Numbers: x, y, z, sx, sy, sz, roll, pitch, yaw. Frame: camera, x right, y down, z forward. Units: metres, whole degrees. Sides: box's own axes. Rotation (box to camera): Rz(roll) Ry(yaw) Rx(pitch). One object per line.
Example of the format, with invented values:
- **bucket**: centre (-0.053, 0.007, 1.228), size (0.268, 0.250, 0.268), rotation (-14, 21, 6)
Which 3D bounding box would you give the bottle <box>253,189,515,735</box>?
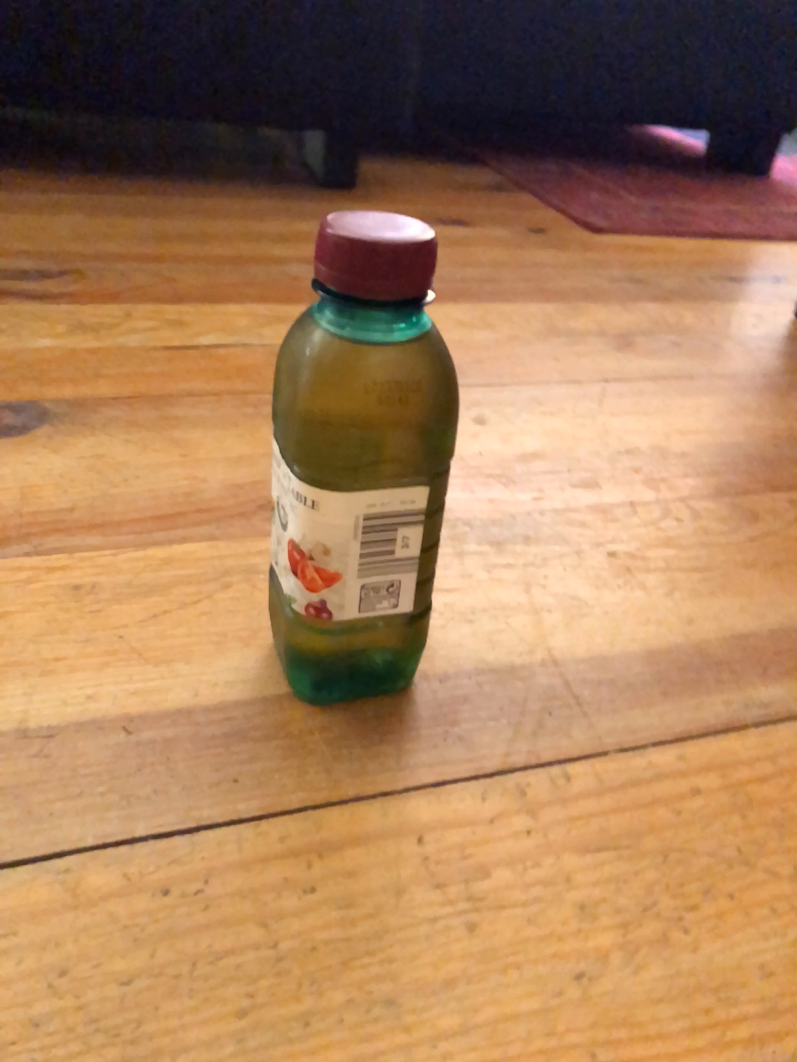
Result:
- **bottle**: centre (-0.013, -0.018, 0.266), size (0.050, 0.149, 0.060), rotation (-6, 34, -19)
